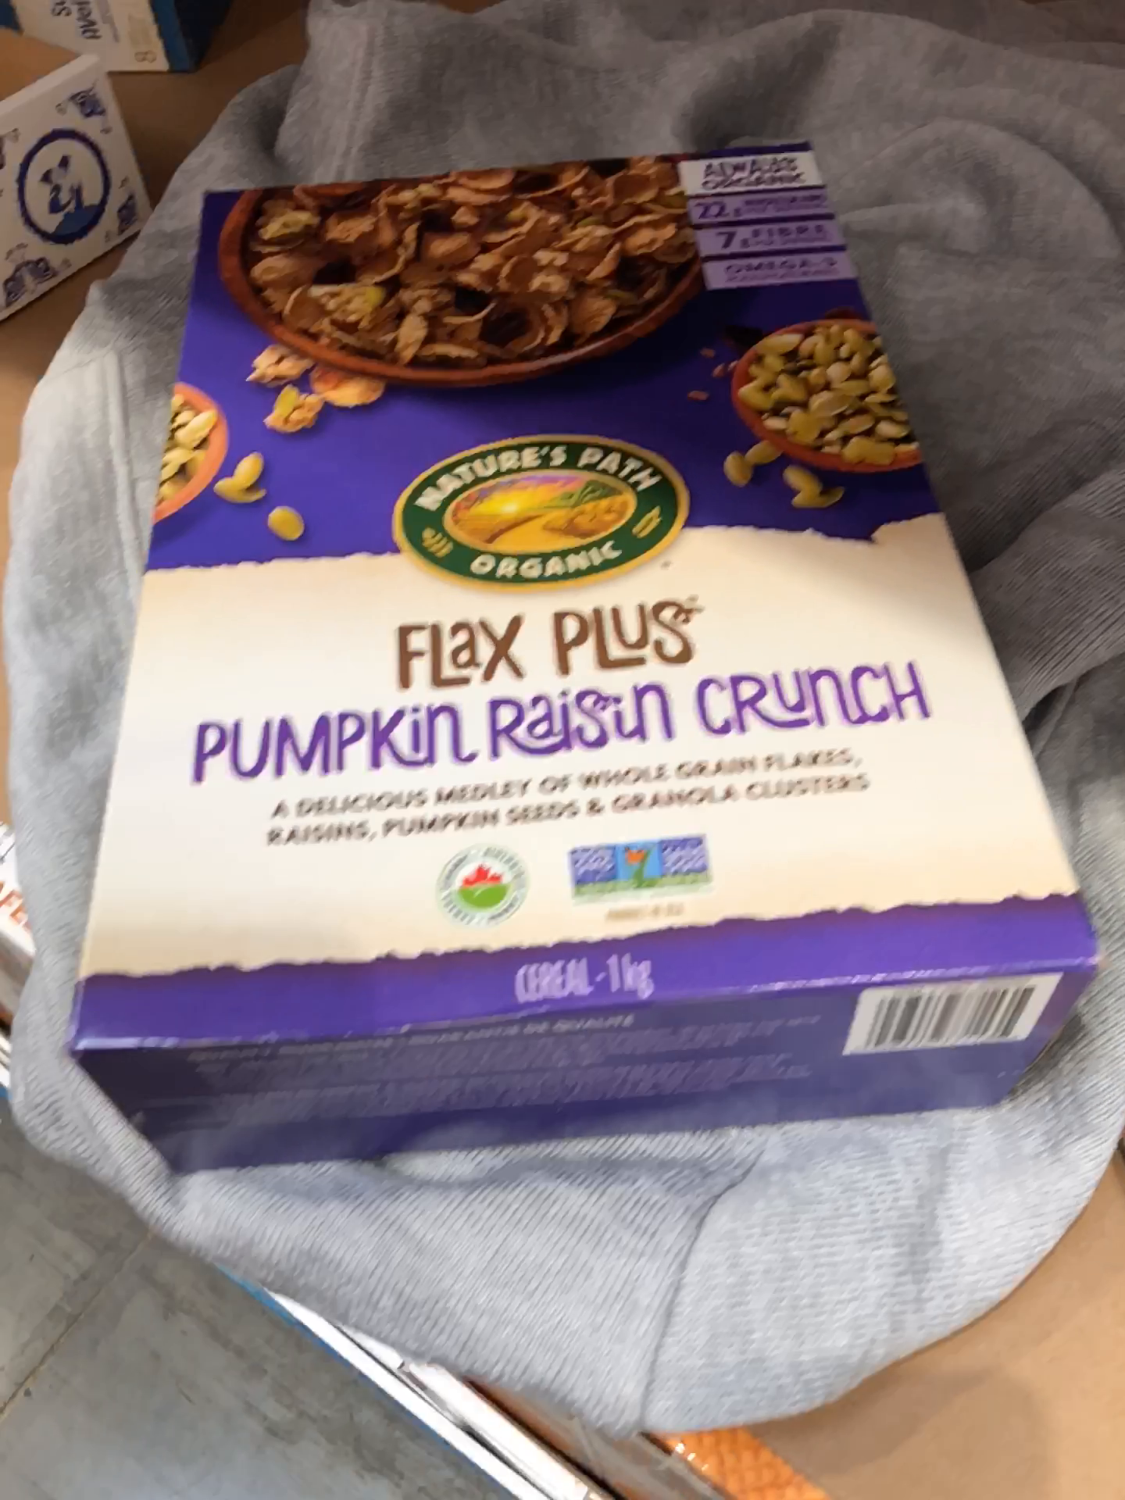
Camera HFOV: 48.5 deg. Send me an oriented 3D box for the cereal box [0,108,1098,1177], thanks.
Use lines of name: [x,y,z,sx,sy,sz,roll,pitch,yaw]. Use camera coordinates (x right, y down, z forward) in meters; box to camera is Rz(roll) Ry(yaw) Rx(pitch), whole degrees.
cereal box: [-0.013,-0.055,0.363,0.210,0.090,0.310,-4,55,-1]
